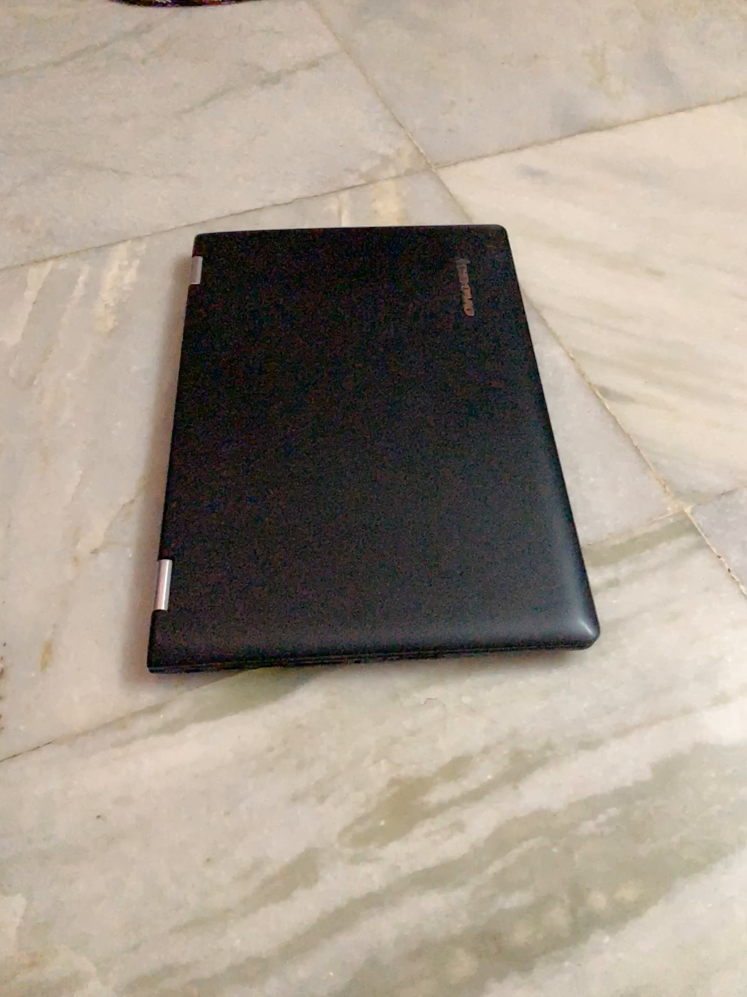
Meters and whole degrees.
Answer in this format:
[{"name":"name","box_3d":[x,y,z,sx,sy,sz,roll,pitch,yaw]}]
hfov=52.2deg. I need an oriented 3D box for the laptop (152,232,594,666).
[{"name":"laptop","box_3d":[-0.007,-0.057,0.474,0.223,0.001,0.326,-2,57,-2]}]
